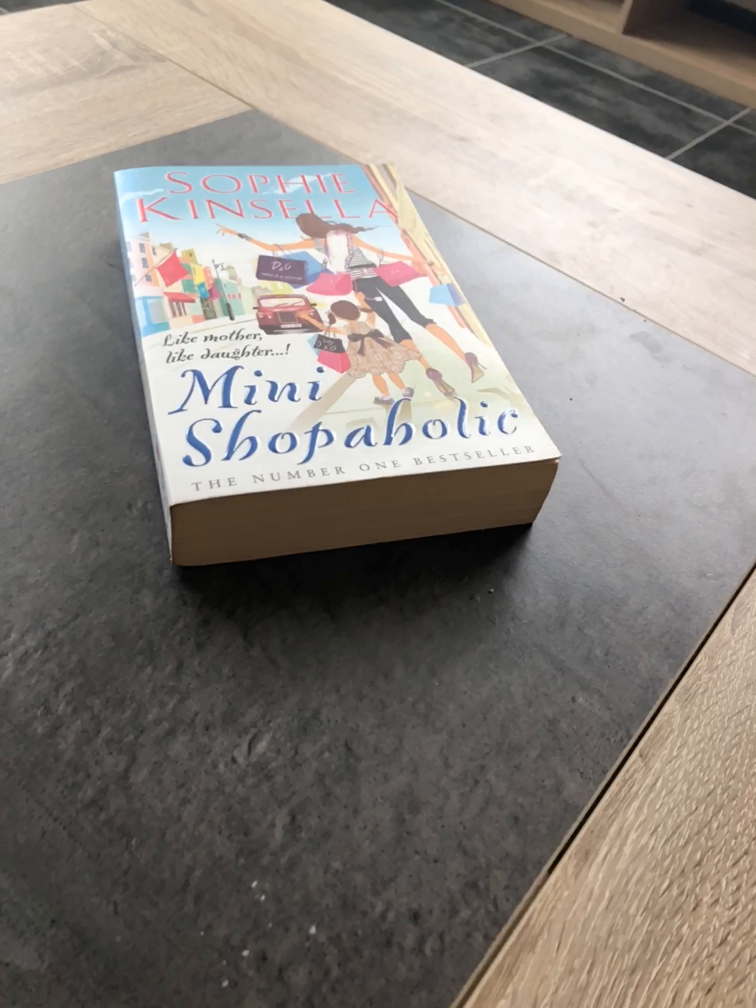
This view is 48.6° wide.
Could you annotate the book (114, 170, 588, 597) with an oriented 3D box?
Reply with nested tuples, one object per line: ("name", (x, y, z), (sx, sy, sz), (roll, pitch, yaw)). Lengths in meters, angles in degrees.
("book", (-0.025, -0.065, 0.325), (0.132, 0.036, 0.201), (-7, 49, -16))
